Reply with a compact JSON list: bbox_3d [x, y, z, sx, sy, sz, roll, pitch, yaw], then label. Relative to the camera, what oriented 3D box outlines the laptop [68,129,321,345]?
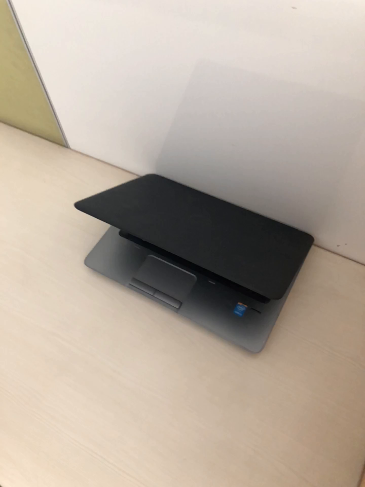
[{"bbox_3d":[0.022,-0.022,0.664,0.320,0.118,0.220,24,64,18],"label":"laptop"}]
